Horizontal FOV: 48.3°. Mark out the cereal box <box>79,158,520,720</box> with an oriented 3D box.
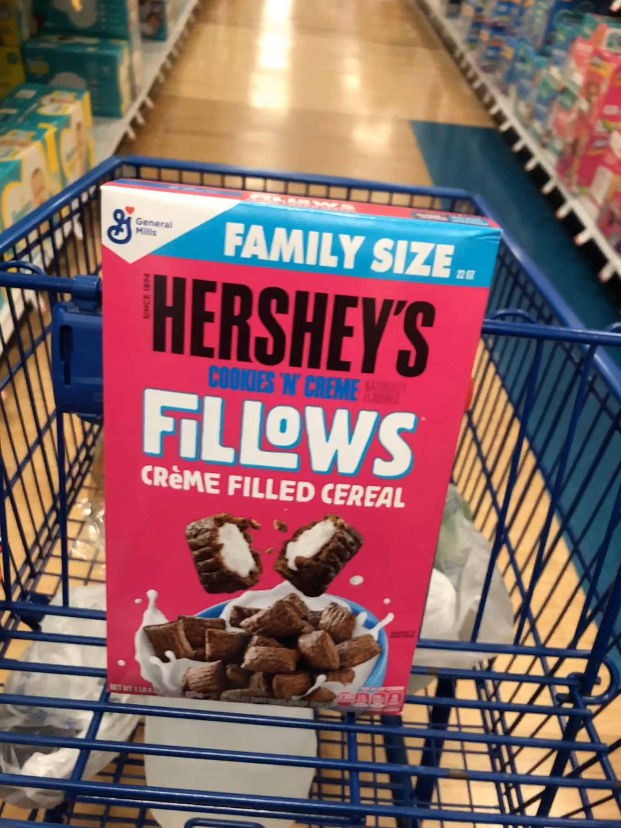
[{"bbox_3d":[-0.020,0.025,0.393,0.200,0.299,0.060,6,20,-2],"label":"cereal box"}]
